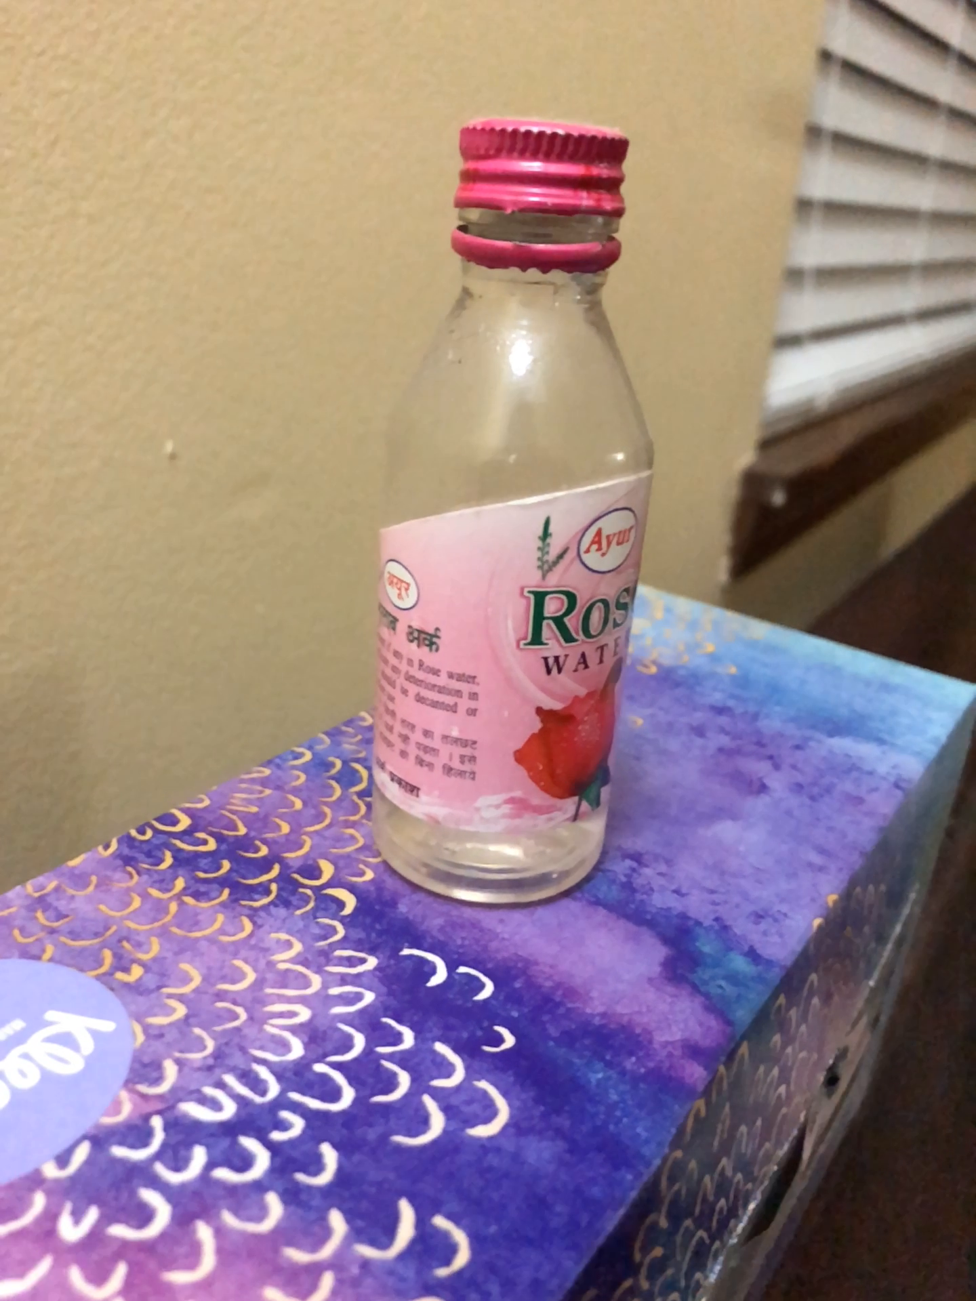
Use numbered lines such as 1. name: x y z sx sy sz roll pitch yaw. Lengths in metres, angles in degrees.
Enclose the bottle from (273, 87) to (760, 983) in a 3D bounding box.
1. bottle: 0.001 -0.015 0.146 0.040 0.100 0.040 2 21 -1
